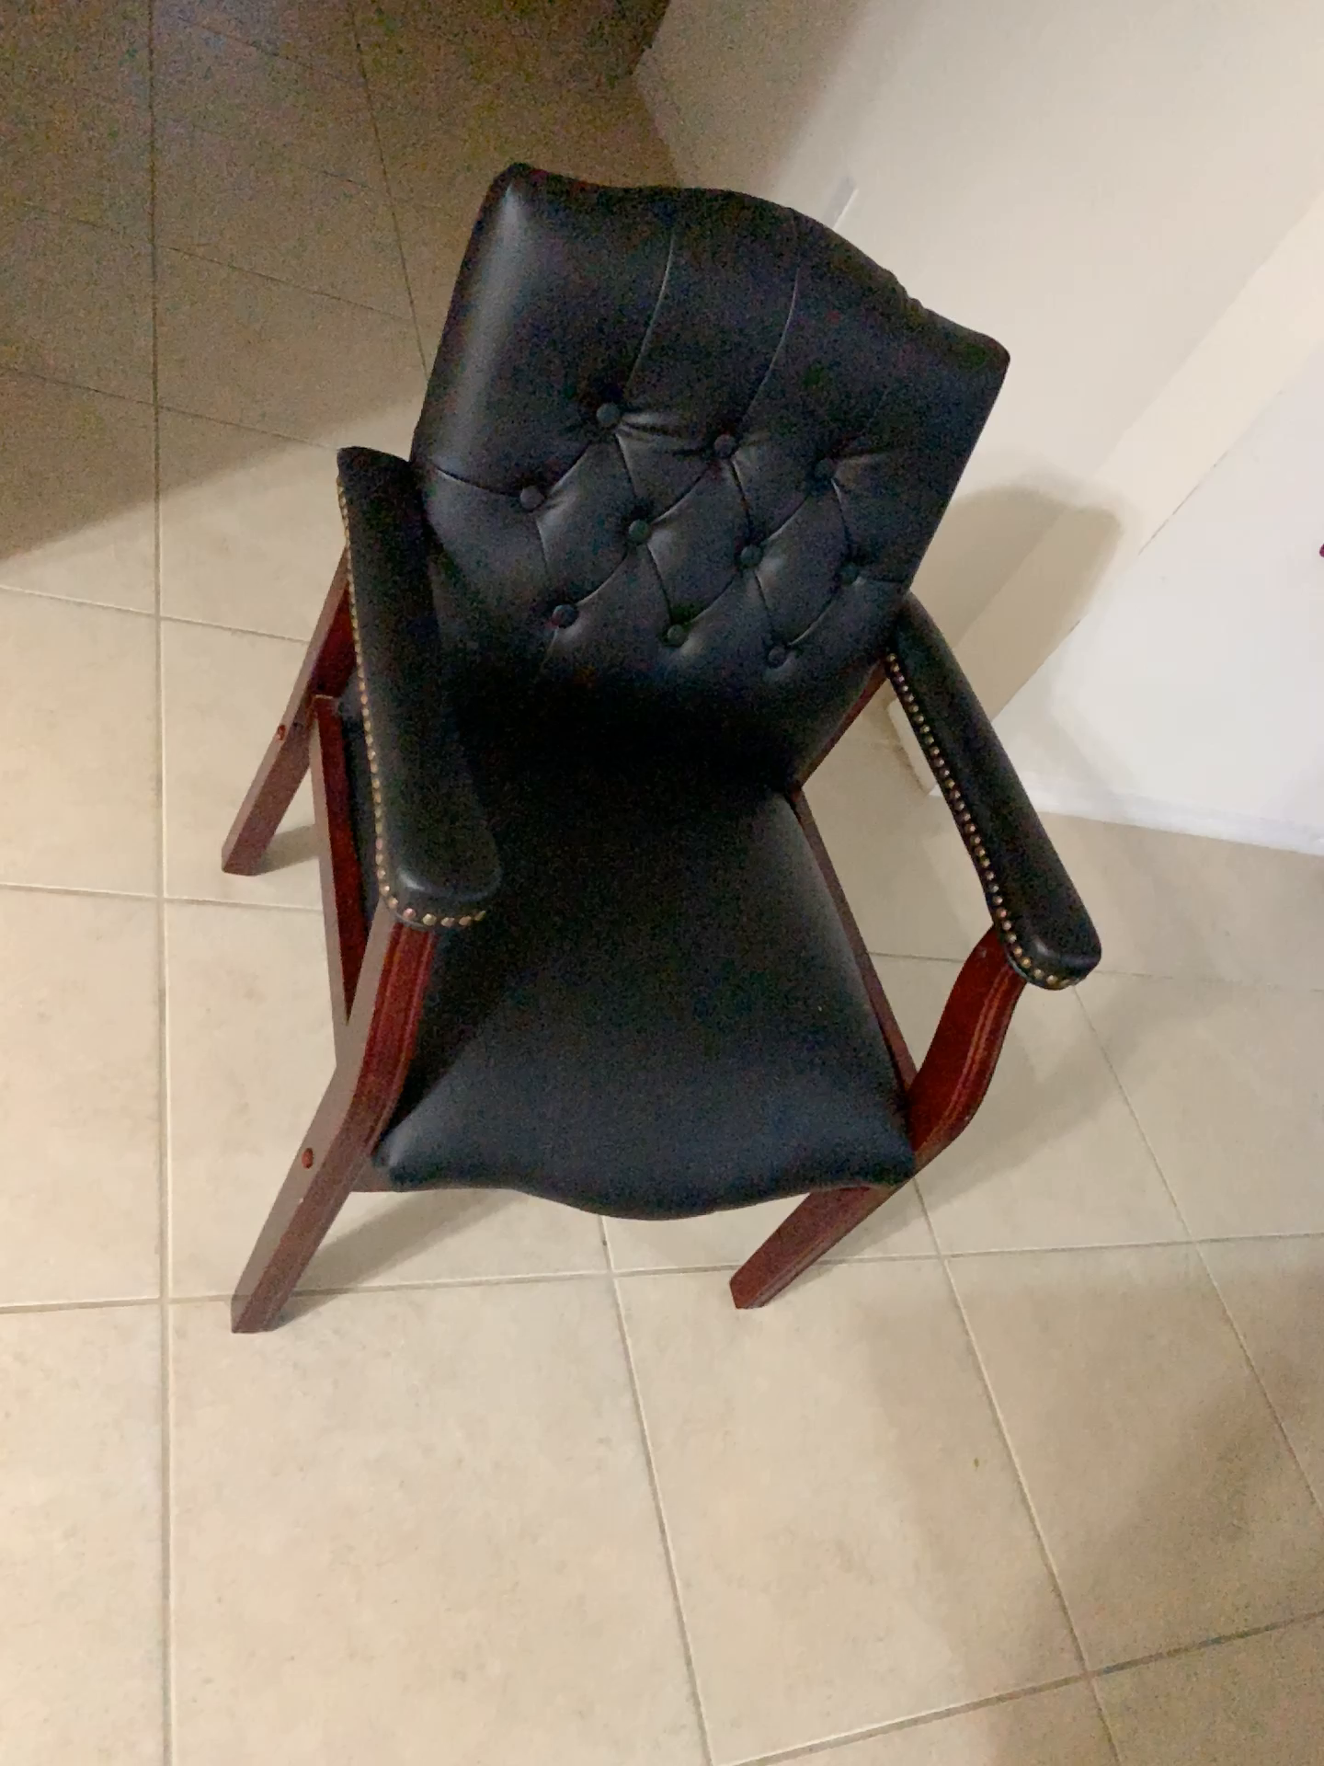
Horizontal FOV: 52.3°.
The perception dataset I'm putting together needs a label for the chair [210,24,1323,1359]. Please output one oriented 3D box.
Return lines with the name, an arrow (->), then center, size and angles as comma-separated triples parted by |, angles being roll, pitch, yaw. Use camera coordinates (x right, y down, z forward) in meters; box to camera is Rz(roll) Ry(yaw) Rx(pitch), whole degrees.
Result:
chair -> 0.003, -0.070, 1.260 | 0.633, 0.908, 0.659 | 7, 50, -28
